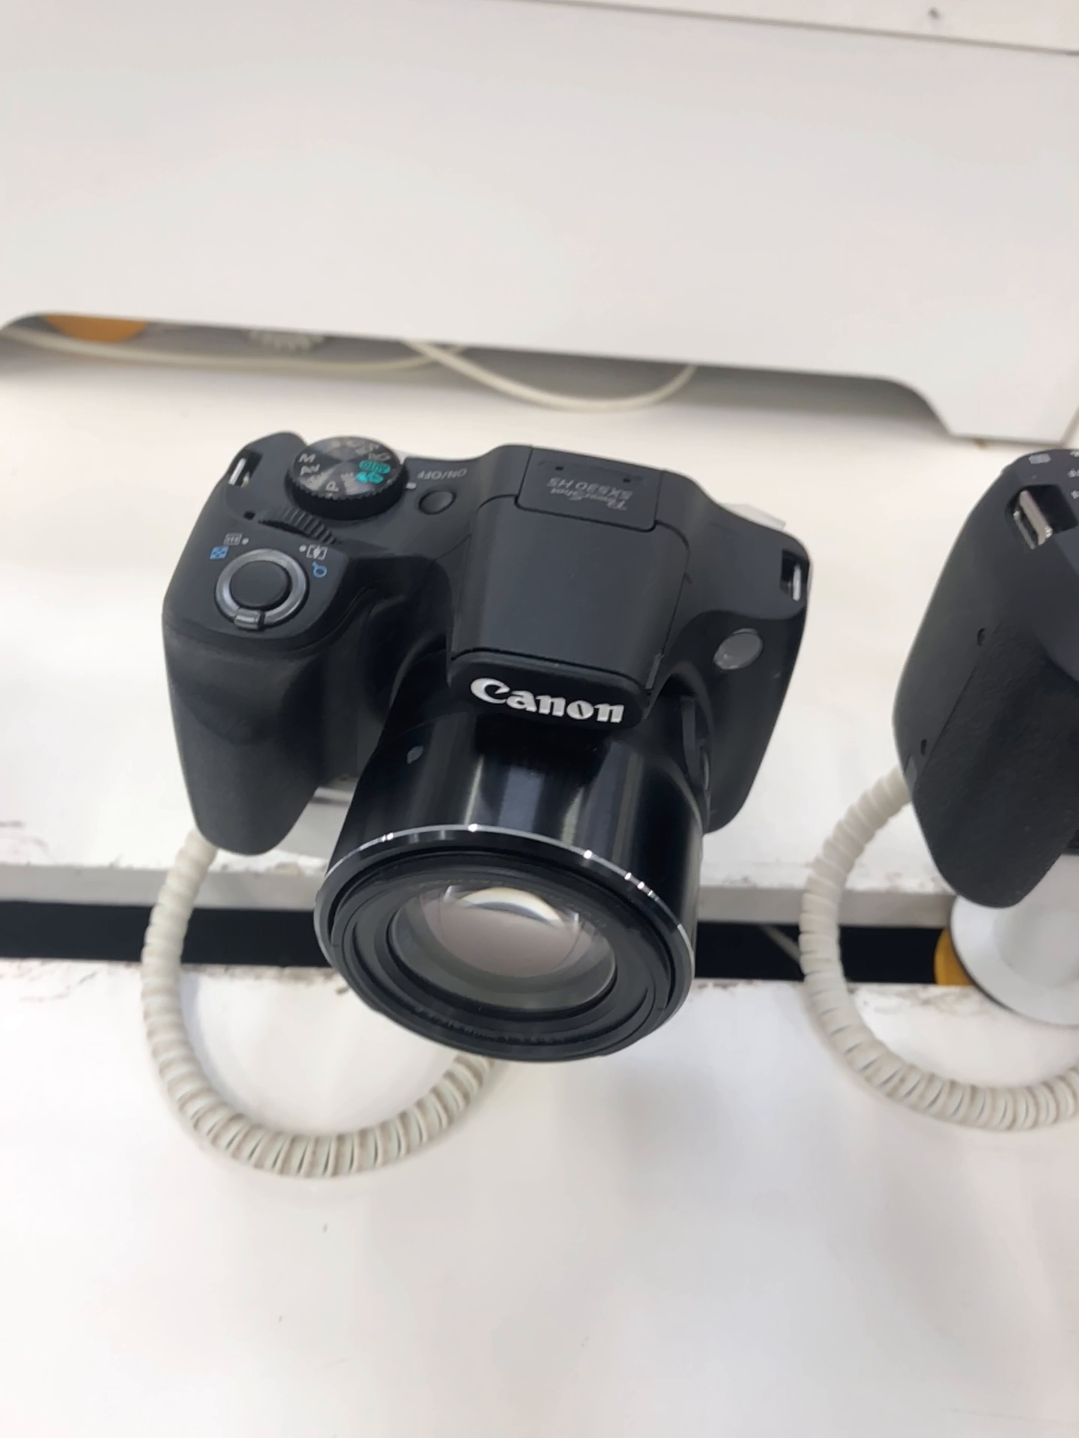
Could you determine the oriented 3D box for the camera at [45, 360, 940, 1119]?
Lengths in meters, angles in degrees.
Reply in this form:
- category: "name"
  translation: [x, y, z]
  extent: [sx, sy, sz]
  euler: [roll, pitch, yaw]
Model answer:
- category: "camera"
  translation: [-0.006, 0.005, 0.219]
  extent: [0.120, 0.089, 0.081]
  euler: [10, 47, 1]
